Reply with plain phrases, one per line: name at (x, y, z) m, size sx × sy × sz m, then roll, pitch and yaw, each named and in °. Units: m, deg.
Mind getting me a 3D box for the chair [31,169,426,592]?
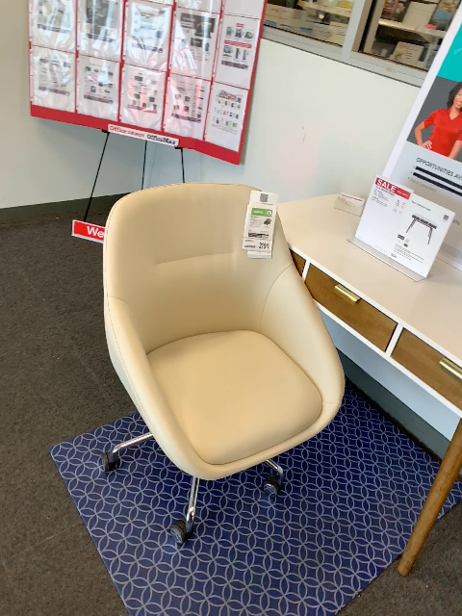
chair at (-0.073, 0.119, 1.317) m, size 0.671 × 0.736 × 0.692 m, roll -16°, pitch 43°, yaw -34°
